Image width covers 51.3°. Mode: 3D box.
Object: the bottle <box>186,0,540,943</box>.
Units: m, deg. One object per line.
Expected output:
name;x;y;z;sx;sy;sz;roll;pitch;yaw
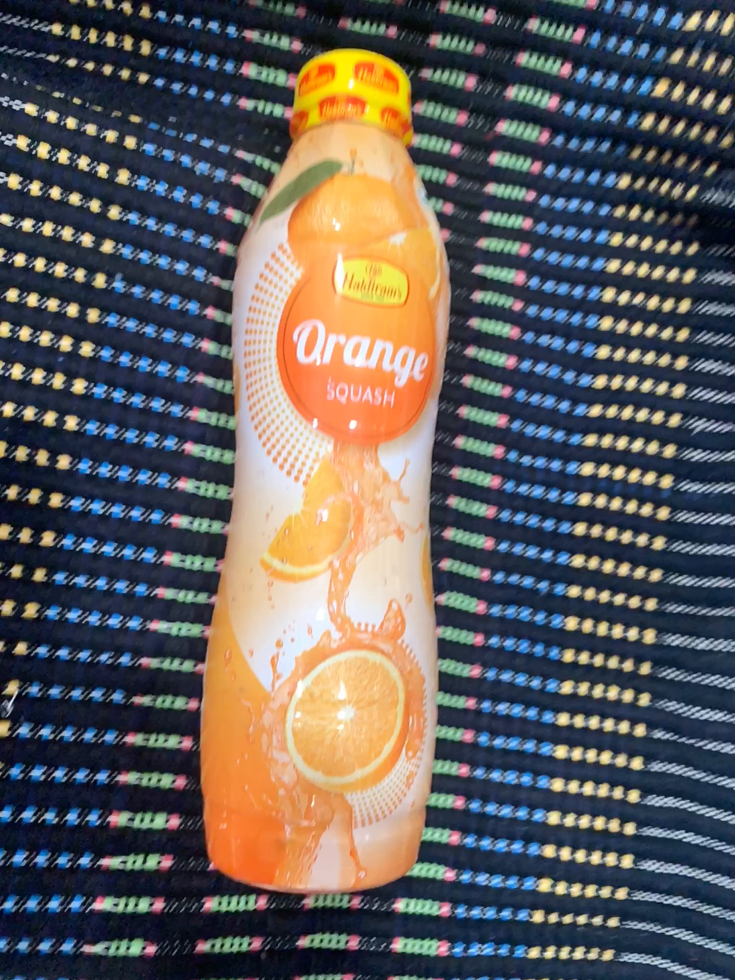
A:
bottle;-0.001;-0.014;0.230;0.080;0.060;0.250;6;80;-17
